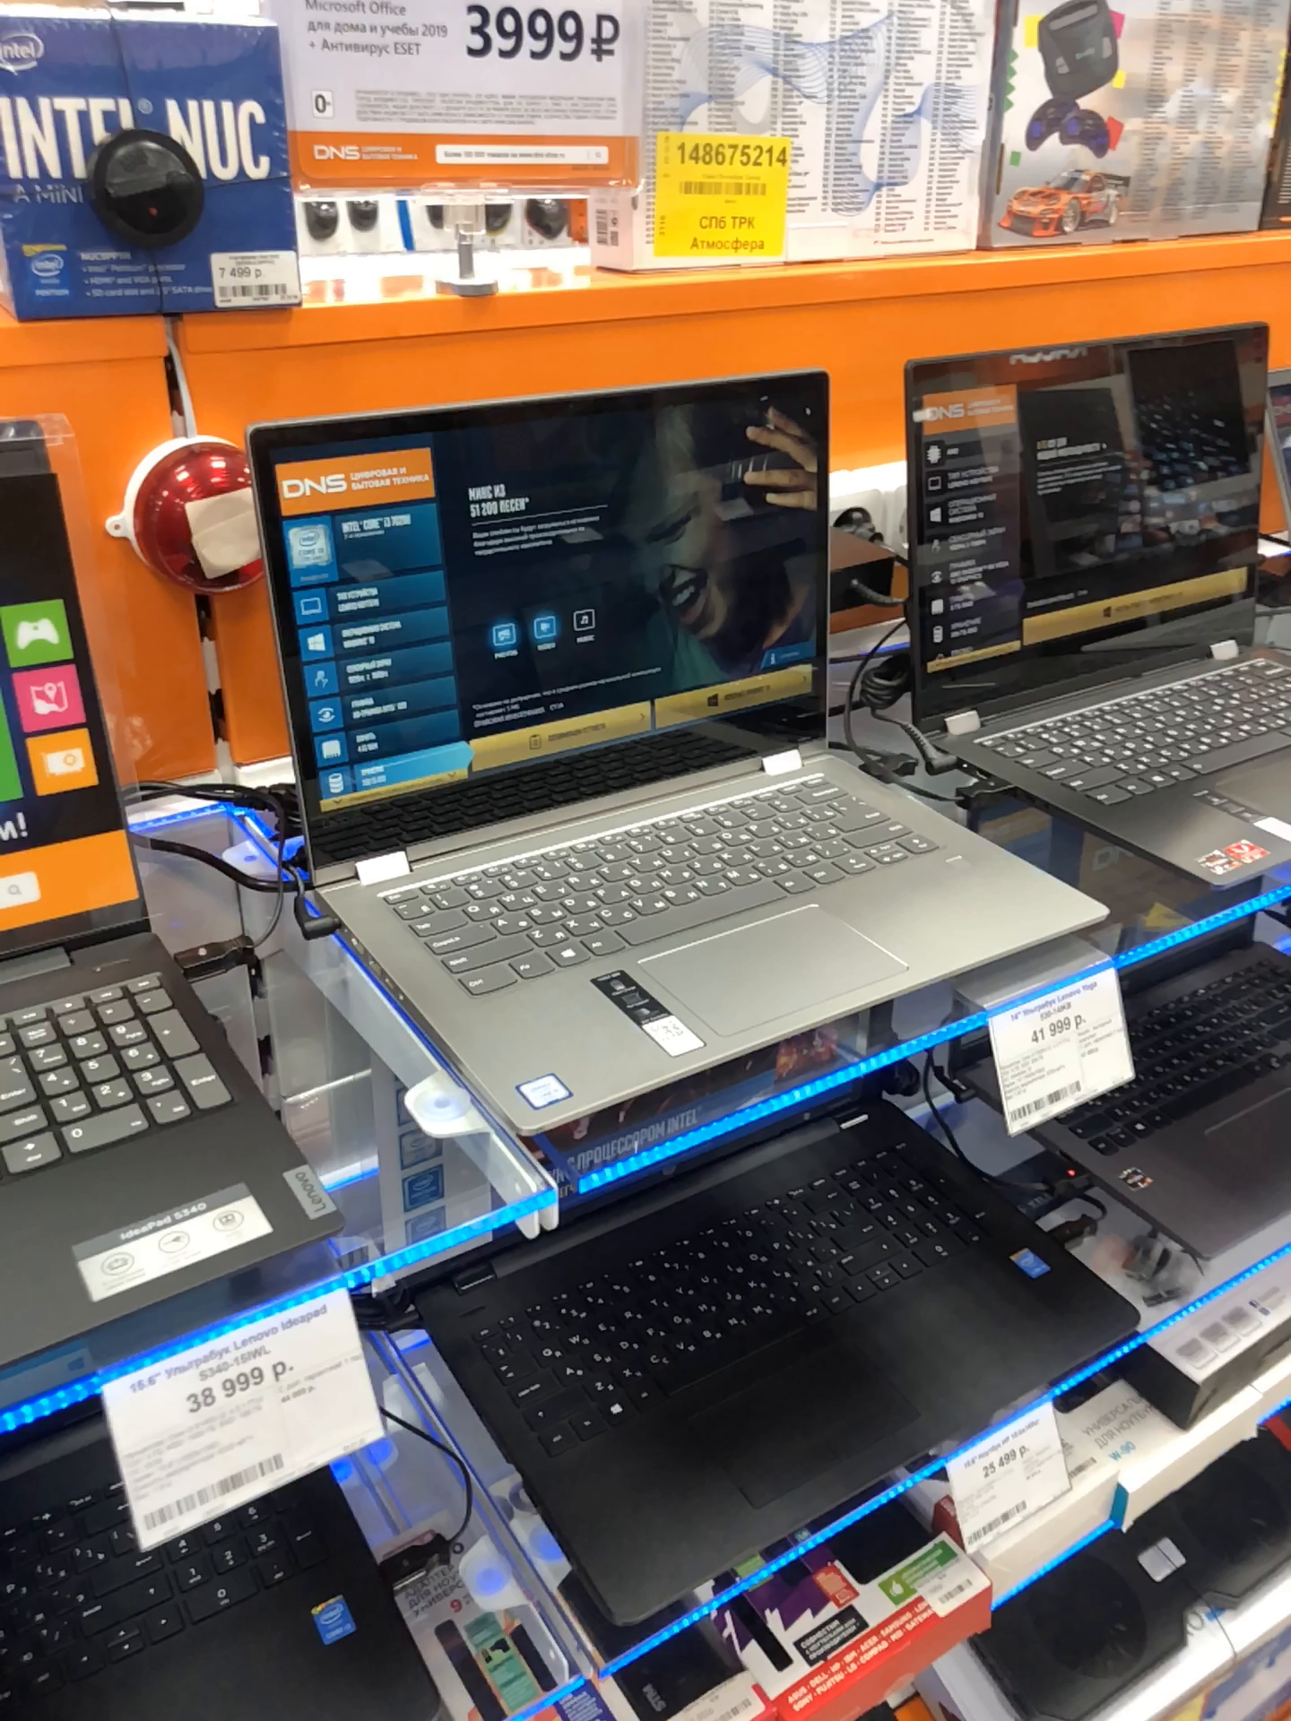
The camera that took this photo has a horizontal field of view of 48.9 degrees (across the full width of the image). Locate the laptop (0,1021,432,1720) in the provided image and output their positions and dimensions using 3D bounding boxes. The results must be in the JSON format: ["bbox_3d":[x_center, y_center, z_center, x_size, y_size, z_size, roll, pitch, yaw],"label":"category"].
[{"bbox_3d":[-0.318,0.282,0.589,0.379,0.235,0.239,-16,33,-28],"label":"laptop"}]

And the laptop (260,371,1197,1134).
[{"bbox_3d":[0.028,-0.079,0.646,0.316,0.212,0.239,-16,33,-28],"label":"laptop"}]

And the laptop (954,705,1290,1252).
[{"bbox_3d":[0.426,0.062,0.998,0.309,0.213,0.237,-17,32,-26],"label":"laptop"}]

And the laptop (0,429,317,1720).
[{"bbox_3d":[-0.309,0.010,0.445,0.305,0.212,0.279,-17,33,-33],"label":"laptop"}]

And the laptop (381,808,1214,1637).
[{"bbox_3d":[0.077,0.165,0.804,0.368,0.207,0.264,-18,34,-29],"label":"laptop"}]

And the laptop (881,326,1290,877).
[{"bbox_3d":[0.344,-0.170,0.818,0.290,0.209,0.248,-16,33,-28],"label":"laptop"}]
